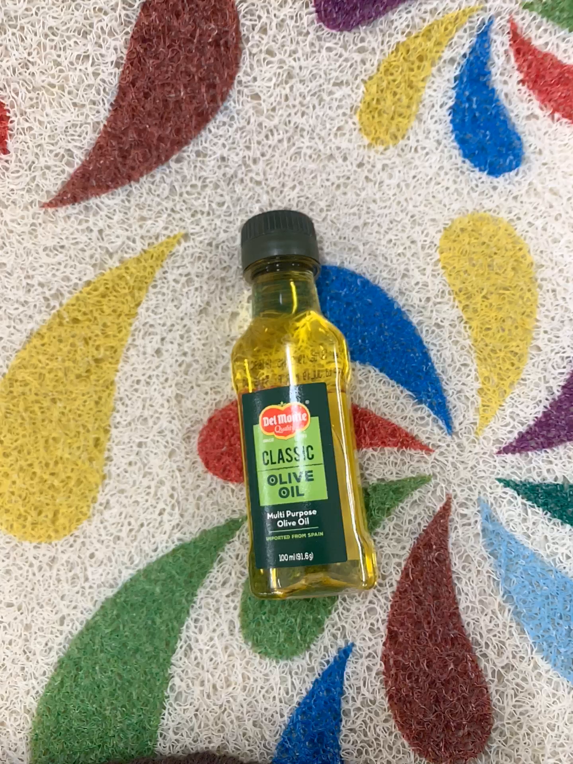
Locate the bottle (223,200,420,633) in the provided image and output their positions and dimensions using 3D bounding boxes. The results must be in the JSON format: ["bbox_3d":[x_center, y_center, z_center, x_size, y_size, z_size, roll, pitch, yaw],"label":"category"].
[{"bbox_3d":[0.010,0.010,0.204,0.050,0.040,0.130,-4,82,1],"label":"bottle"}]
